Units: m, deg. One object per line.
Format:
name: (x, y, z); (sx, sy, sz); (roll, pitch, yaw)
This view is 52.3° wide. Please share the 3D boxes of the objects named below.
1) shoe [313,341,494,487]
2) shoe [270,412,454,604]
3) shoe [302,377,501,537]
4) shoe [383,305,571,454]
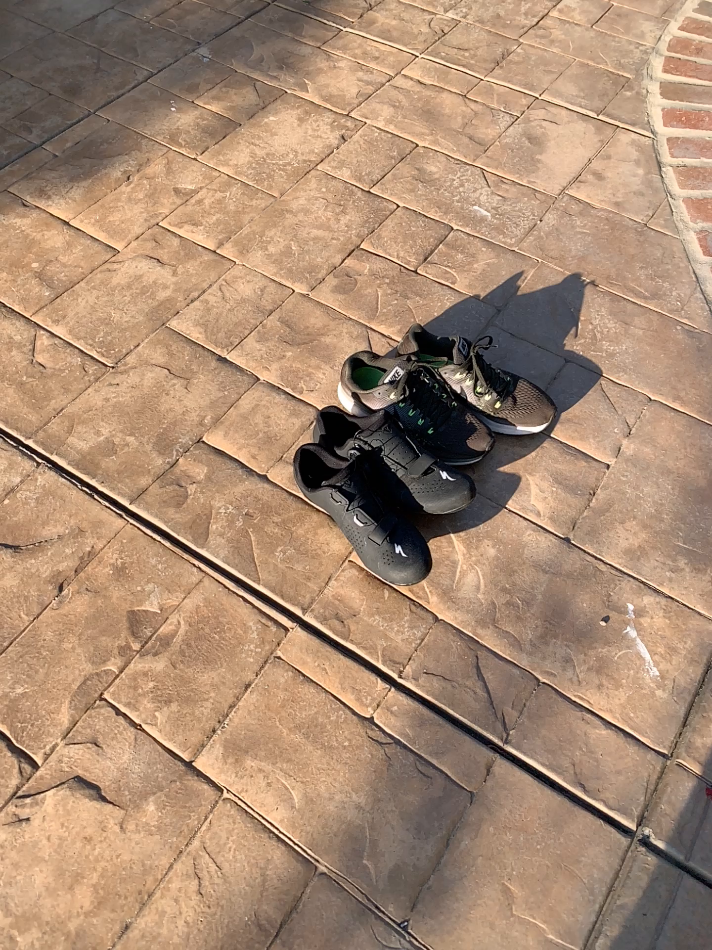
shoe: (0.073, -0.103, 1.163); (0.260, 0.070, 0.120); (29, 61, 19)
shoe: (0.003, 0.040, 1.011); (0.100, 0.070, 0.271); (-35, 62, -21)
shoe: (0.061, -0.030, 1.026); (0.260, 0.070, 0.100); (29, 61, 19)
shoe: (0.190, -0.159, 1.178); (0.271, 0.080, 0.120); (29, 61, 19)
